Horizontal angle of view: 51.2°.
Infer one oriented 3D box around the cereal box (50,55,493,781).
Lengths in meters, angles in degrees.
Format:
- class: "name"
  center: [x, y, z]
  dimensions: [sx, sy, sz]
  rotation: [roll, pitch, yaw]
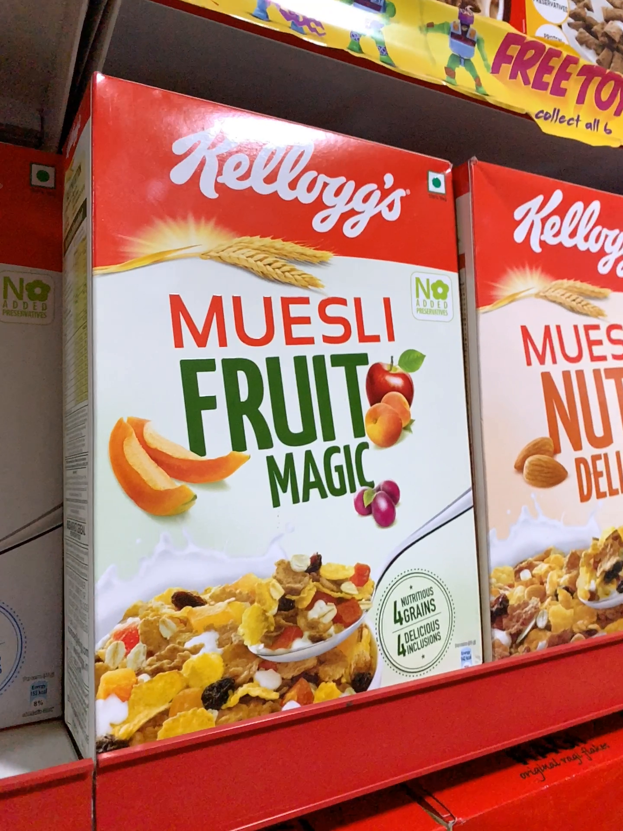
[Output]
- class: "cereal box"
  center: [-0.013, -0.002, 0.287]
  dimensions: [0.180, 0.240, 0.060]
  rotation: [1, -6, -31]
